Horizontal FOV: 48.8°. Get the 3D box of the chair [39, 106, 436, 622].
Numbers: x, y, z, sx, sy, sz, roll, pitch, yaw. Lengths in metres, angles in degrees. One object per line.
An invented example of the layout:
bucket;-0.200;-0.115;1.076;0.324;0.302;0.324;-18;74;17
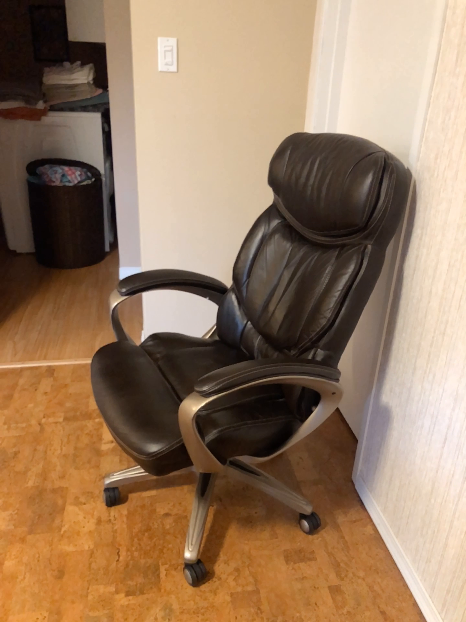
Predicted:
chair;-0.056;0.053;1.403;0.650;1.086;0.692;-12;28;-28
